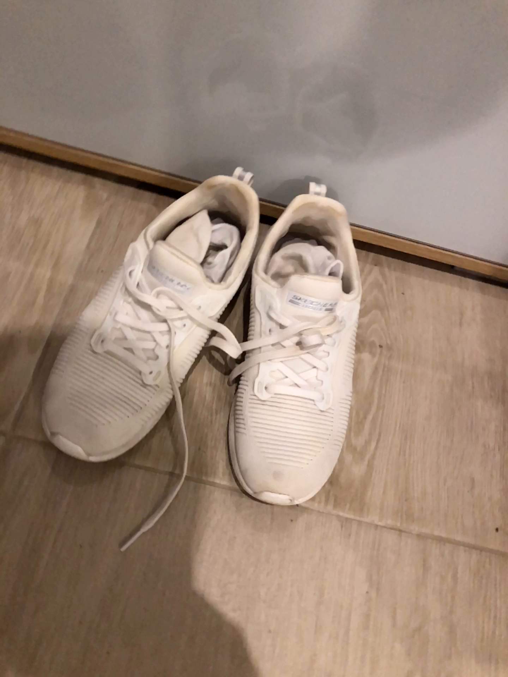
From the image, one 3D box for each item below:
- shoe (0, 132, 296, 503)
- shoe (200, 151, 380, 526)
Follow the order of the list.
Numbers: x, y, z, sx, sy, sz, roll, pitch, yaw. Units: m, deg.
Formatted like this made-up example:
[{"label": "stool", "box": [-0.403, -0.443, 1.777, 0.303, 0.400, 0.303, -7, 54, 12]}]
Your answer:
[{"label": "shoe", "box": [-0.084, -0.023, 0.459, 0.110, 0.110, 0.271, 29, 63, 5]}, {"label": "shoe", "box": [0.033, -0.003, 0.467, 0.110, 0.110, 0.281, 9, 63, -5]}]
